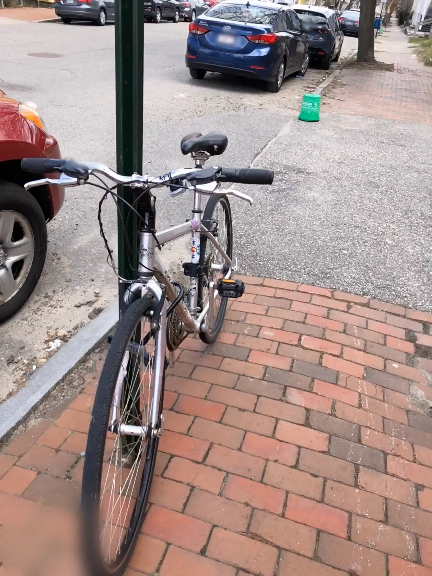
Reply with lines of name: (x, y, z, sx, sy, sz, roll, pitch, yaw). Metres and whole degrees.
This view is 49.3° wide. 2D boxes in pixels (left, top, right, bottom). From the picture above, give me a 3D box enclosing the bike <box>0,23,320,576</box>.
bike: (-0.135, -0.077, 1.468, 0.608, 1.011, 1.568, 11, 25, 5)
